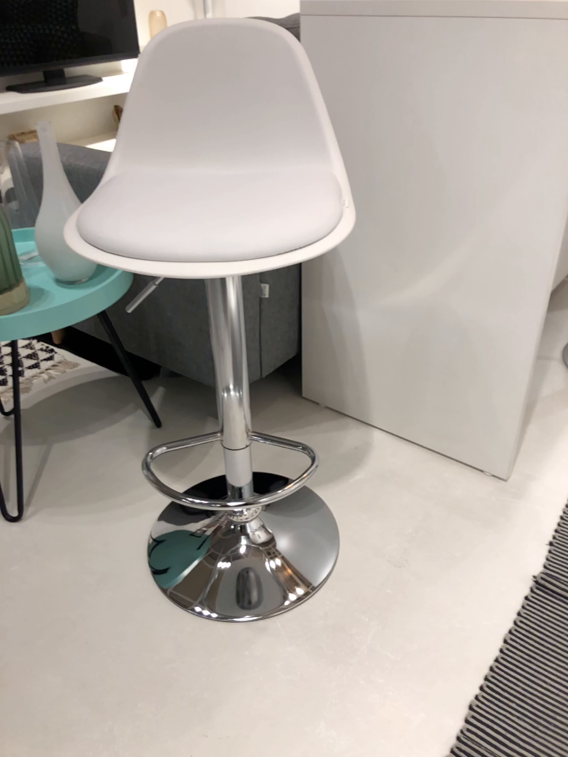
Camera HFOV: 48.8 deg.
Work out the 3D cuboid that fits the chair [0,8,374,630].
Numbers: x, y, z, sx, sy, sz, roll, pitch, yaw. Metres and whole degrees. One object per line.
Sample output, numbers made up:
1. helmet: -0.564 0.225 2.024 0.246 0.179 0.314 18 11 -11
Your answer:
1. chair: -0.085 -0.072 1.016 0.410 0.883 0.423 3 33 7
